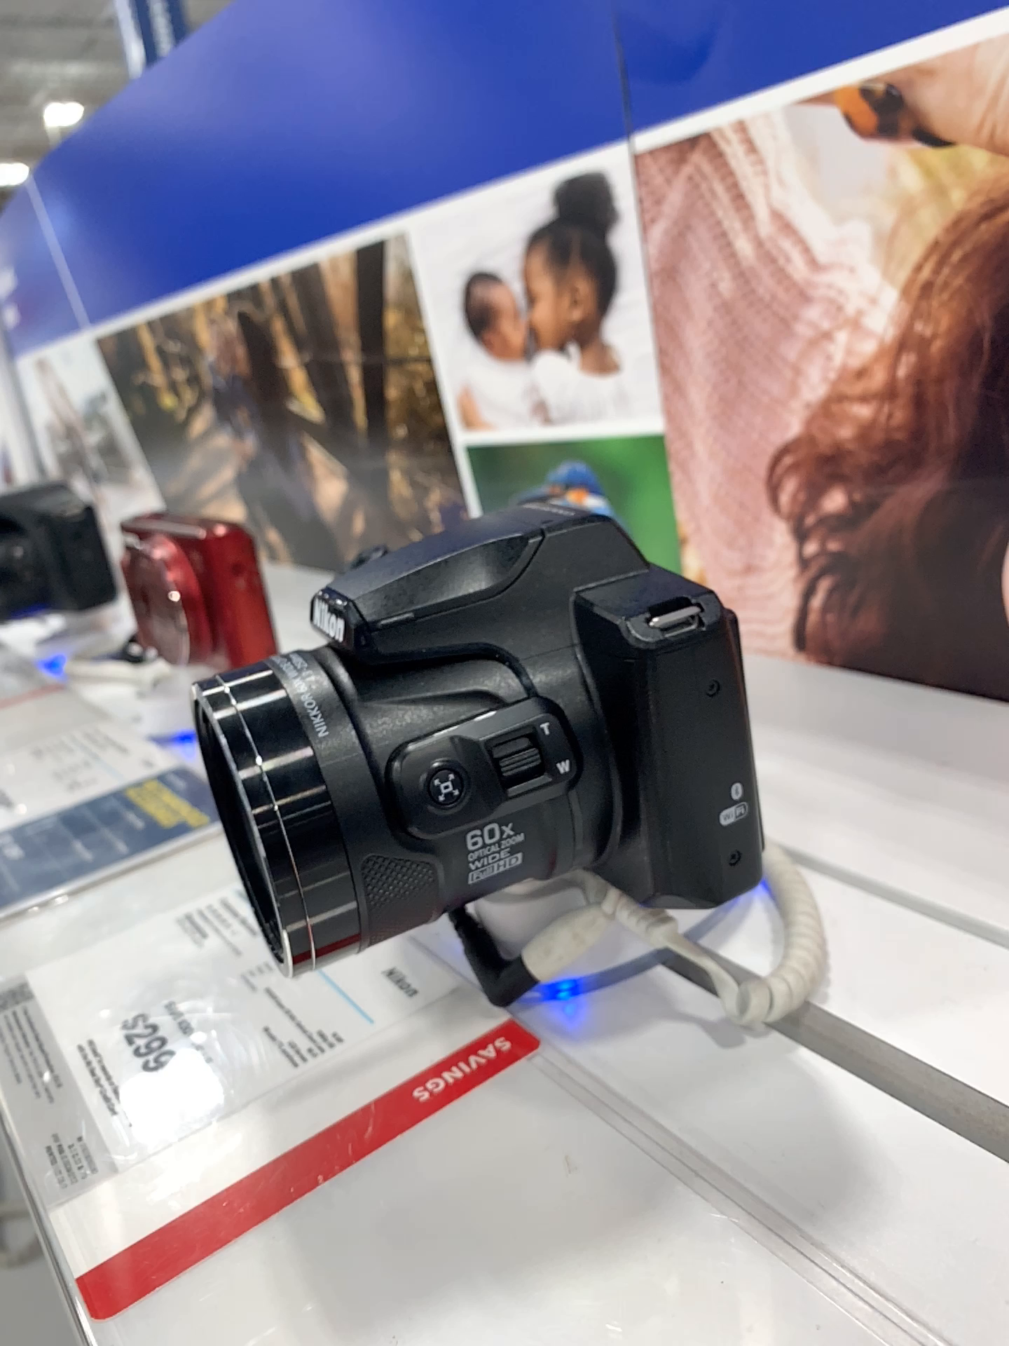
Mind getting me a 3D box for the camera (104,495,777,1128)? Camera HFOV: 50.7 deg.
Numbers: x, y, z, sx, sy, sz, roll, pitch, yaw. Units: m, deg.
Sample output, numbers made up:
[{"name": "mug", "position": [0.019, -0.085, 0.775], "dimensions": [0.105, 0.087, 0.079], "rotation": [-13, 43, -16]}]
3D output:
[{"name": "camera", "position": [-0.021, 0.013, 0.241], "dimensions": [0.100, 0.080, 0.120], "rotation": [-17, 20, -24]}]
